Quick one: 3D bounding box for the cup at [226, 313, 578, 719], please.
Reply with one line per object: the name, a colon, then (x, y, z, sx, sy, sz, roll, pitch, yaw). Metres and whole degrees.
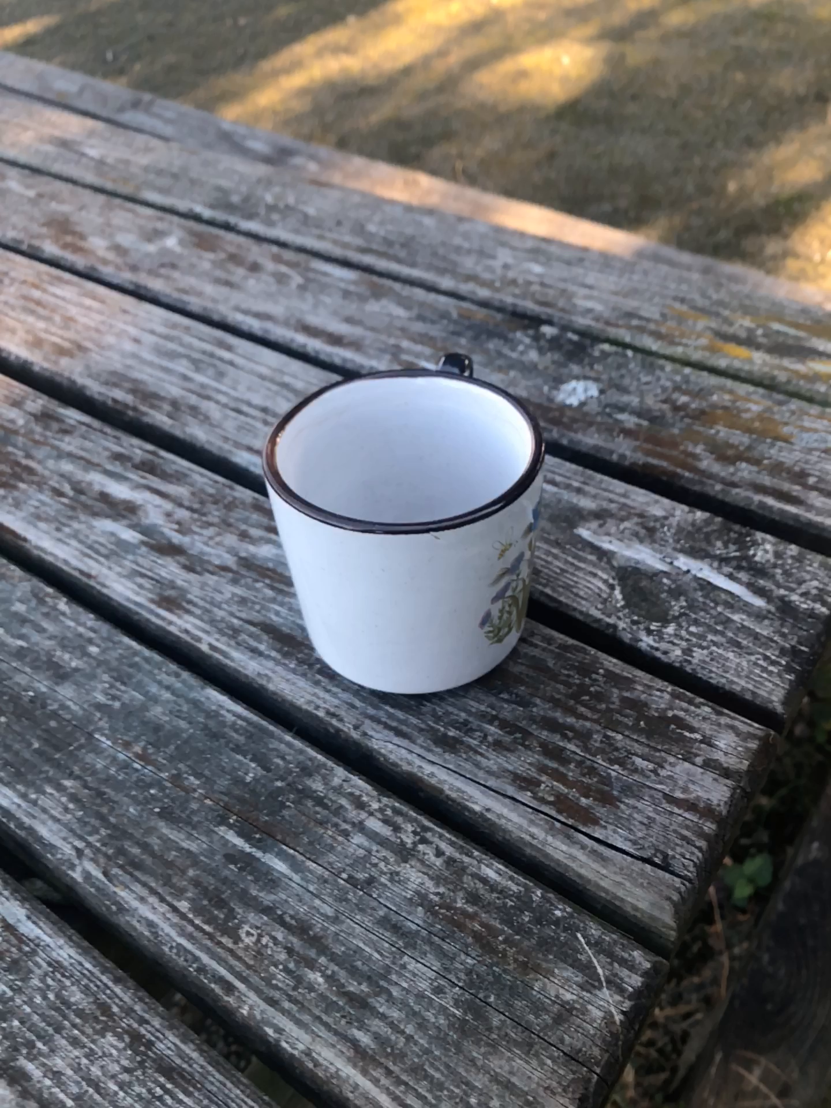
cup: (0.004, -0.017, 0.316, 0.086, 0.078, 0.109, 6, 45, 13)
